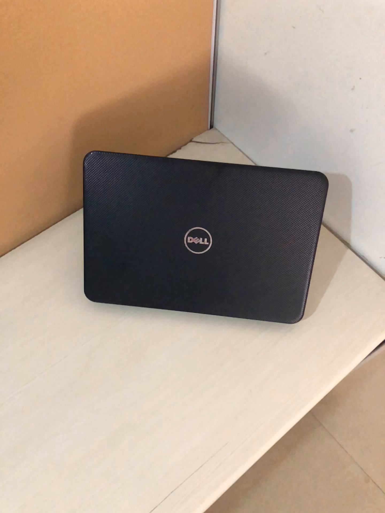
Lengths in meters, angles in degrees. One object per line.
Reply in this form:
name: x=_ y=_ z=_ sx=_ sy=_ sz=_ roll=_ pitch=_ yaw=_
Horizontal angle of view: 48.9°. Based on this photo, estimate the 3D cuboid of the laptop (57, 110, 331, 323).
laptop: x=0.015 y=-0.062 z=0.685 sx=0.351 sy=0.180 sz=0.255 roll=6 pitch=59 yaw=1
